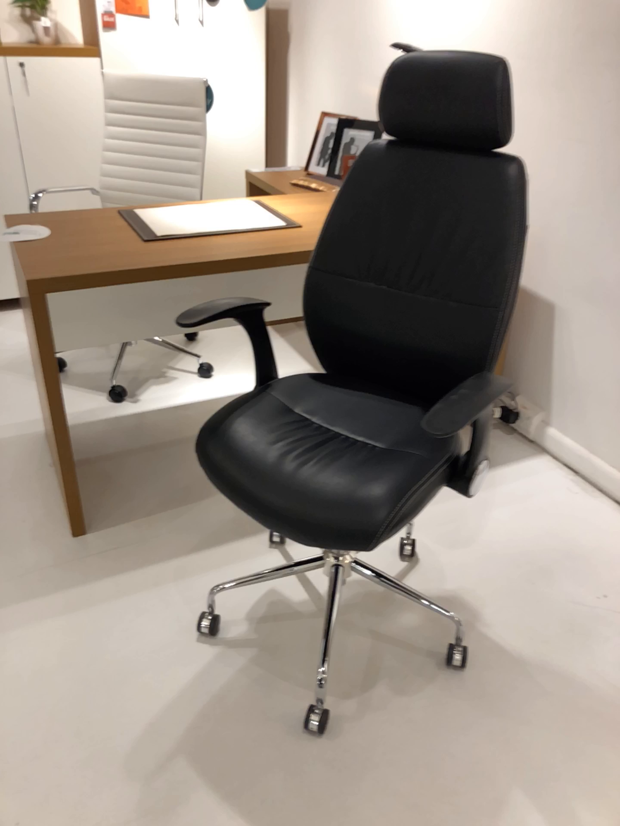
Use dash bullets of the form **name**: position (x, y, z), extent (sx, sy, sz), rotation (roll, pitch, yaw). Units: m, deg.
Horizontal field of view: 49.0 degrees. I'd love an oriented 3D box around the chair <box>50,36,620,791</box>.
- **chair**: position (0.064, -0.048, 1.473), extent (0.692, 1.299, 0.714), rotation (23, 37, 31)
